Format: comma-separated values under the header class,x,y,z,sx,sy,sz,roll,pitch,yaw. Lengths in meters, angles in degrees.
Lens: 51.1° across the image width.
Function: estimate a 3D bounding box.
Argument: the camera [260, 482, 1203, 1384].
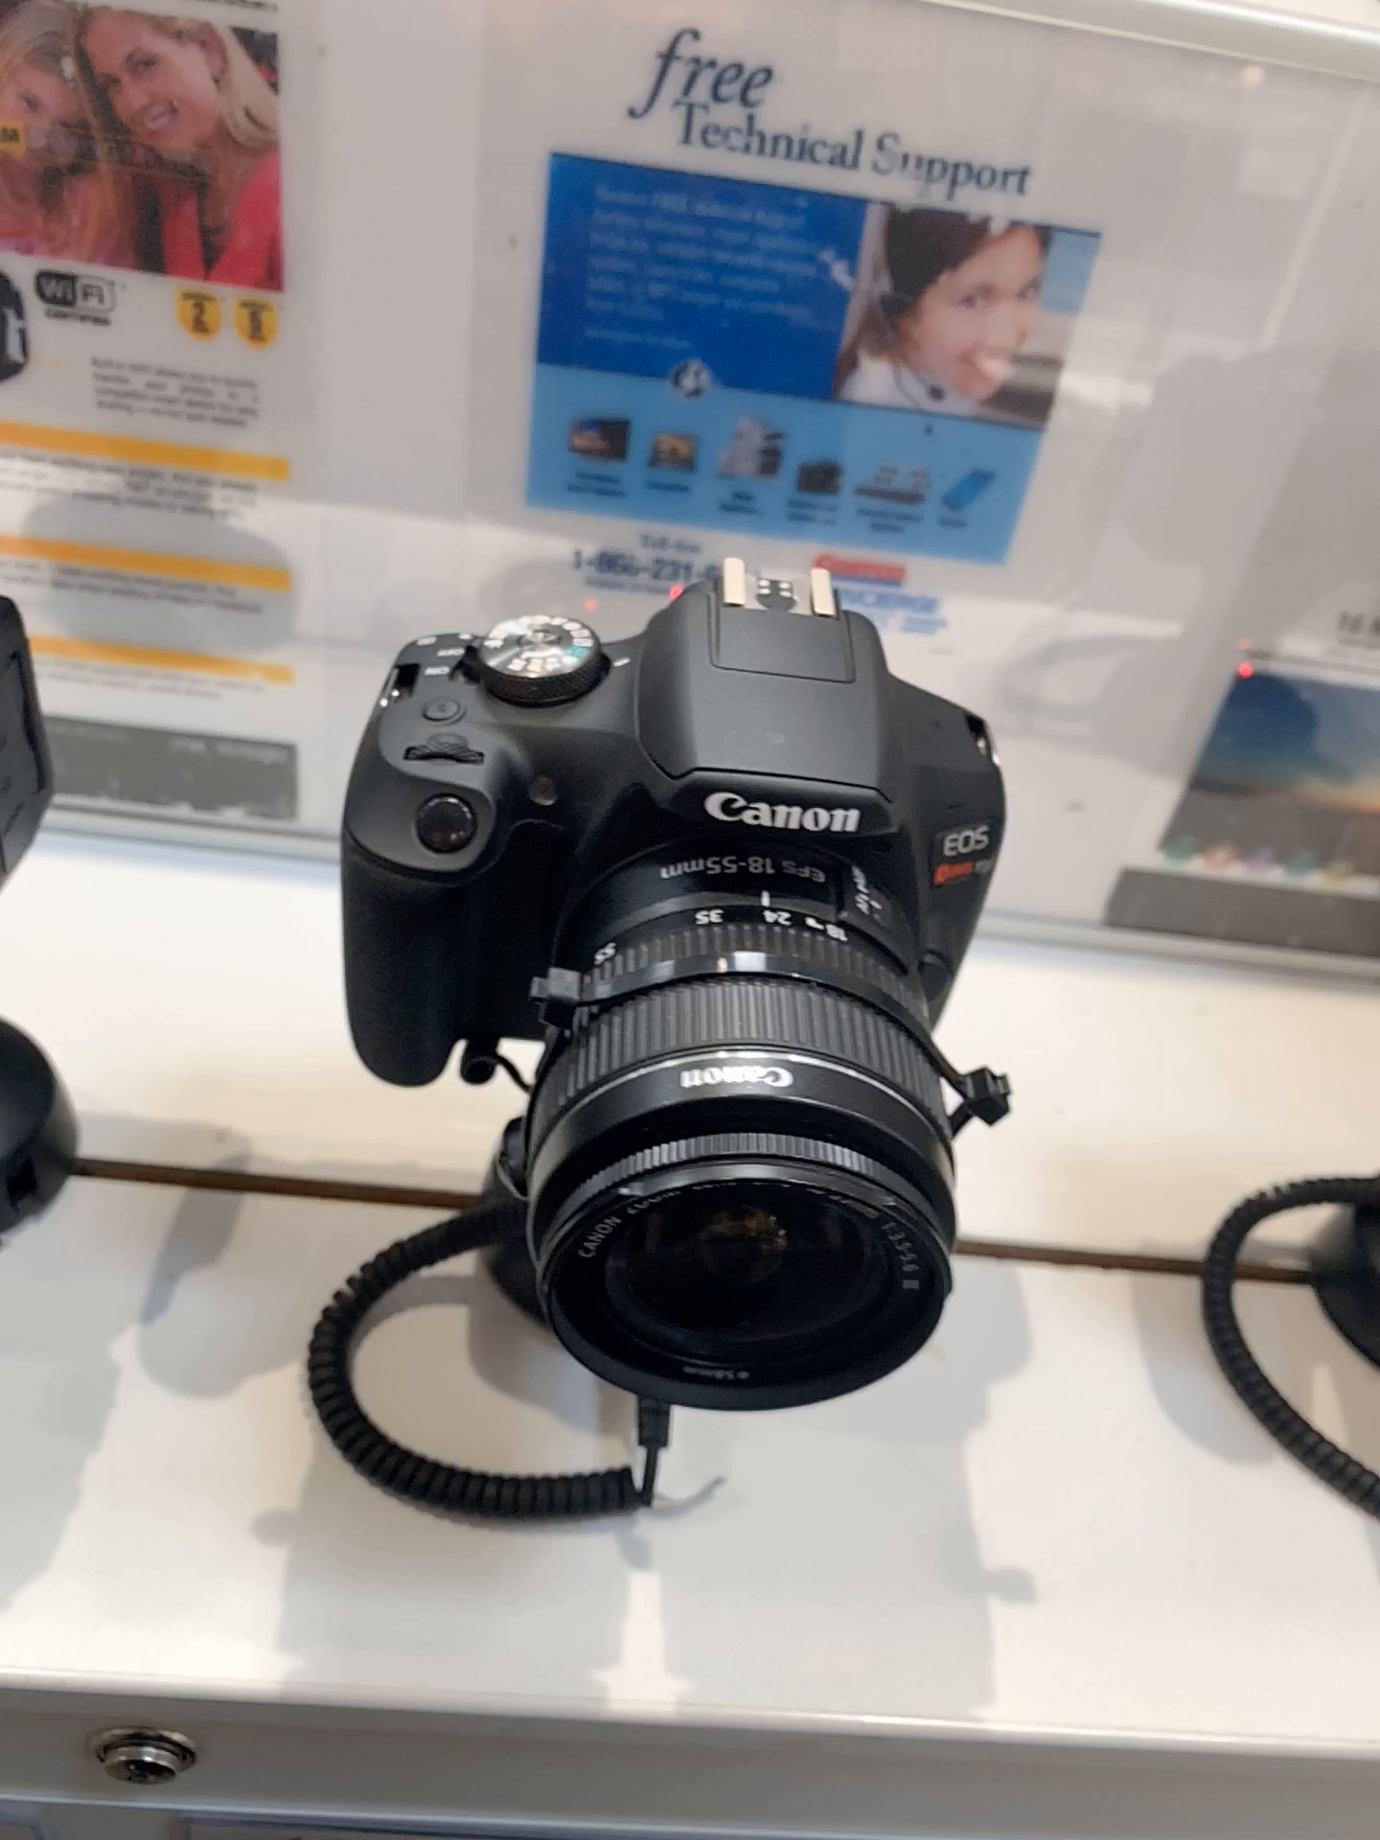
class,x,y,z,sx,sy,sz,roll,pitch,yaw
camera,-0.003,0.002,0.258,0.122,0.104,0.110,5,39,-8
